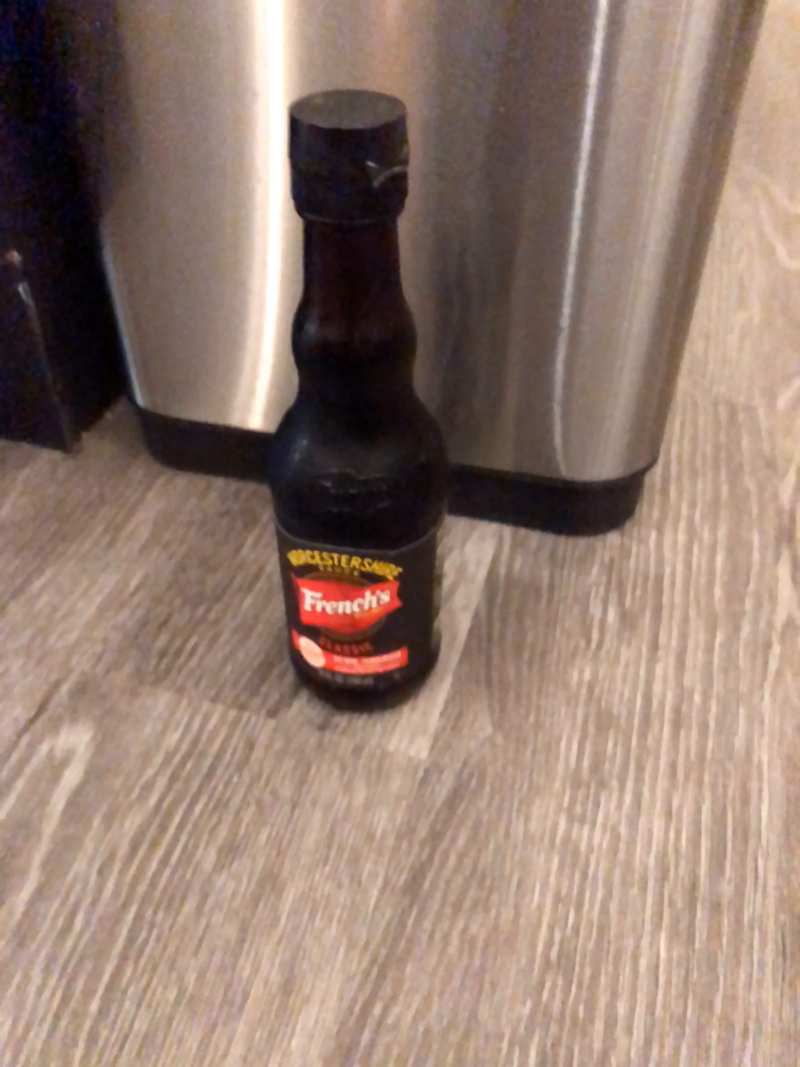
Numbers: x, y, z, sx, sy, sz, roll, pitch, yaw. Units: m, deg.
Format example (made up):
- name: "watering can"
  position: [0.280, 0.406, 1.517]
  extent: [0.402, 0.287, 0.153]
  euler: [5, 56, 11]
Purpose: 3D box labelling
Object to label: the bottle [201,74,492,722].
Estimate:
- name: "bottle"
  position: [-0.011, -0.029, 0.288]
  extent: [0.060, 0.199, 0.060]
  euler: [0, 42, 0]
